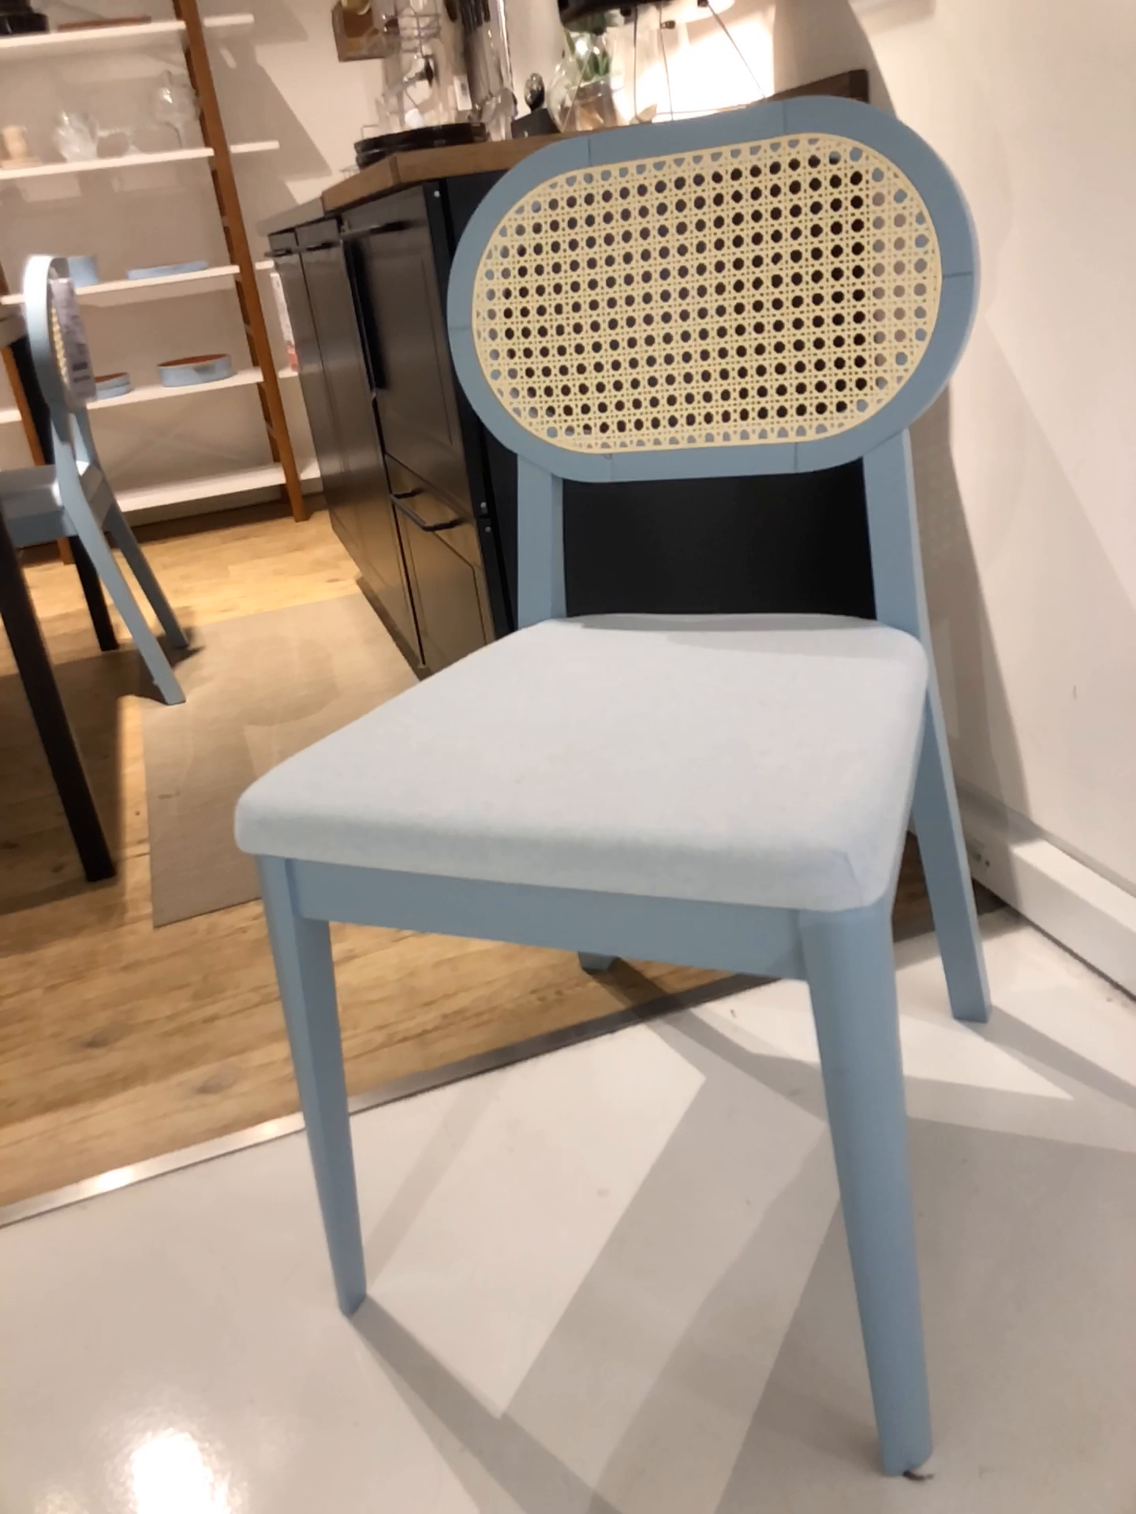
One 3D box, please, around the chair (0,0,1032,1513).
[{"bbox_3d":[0.062,-0.037,0.946,0.480,0.824,0.563,3,26,26],"label":"chair"}]
